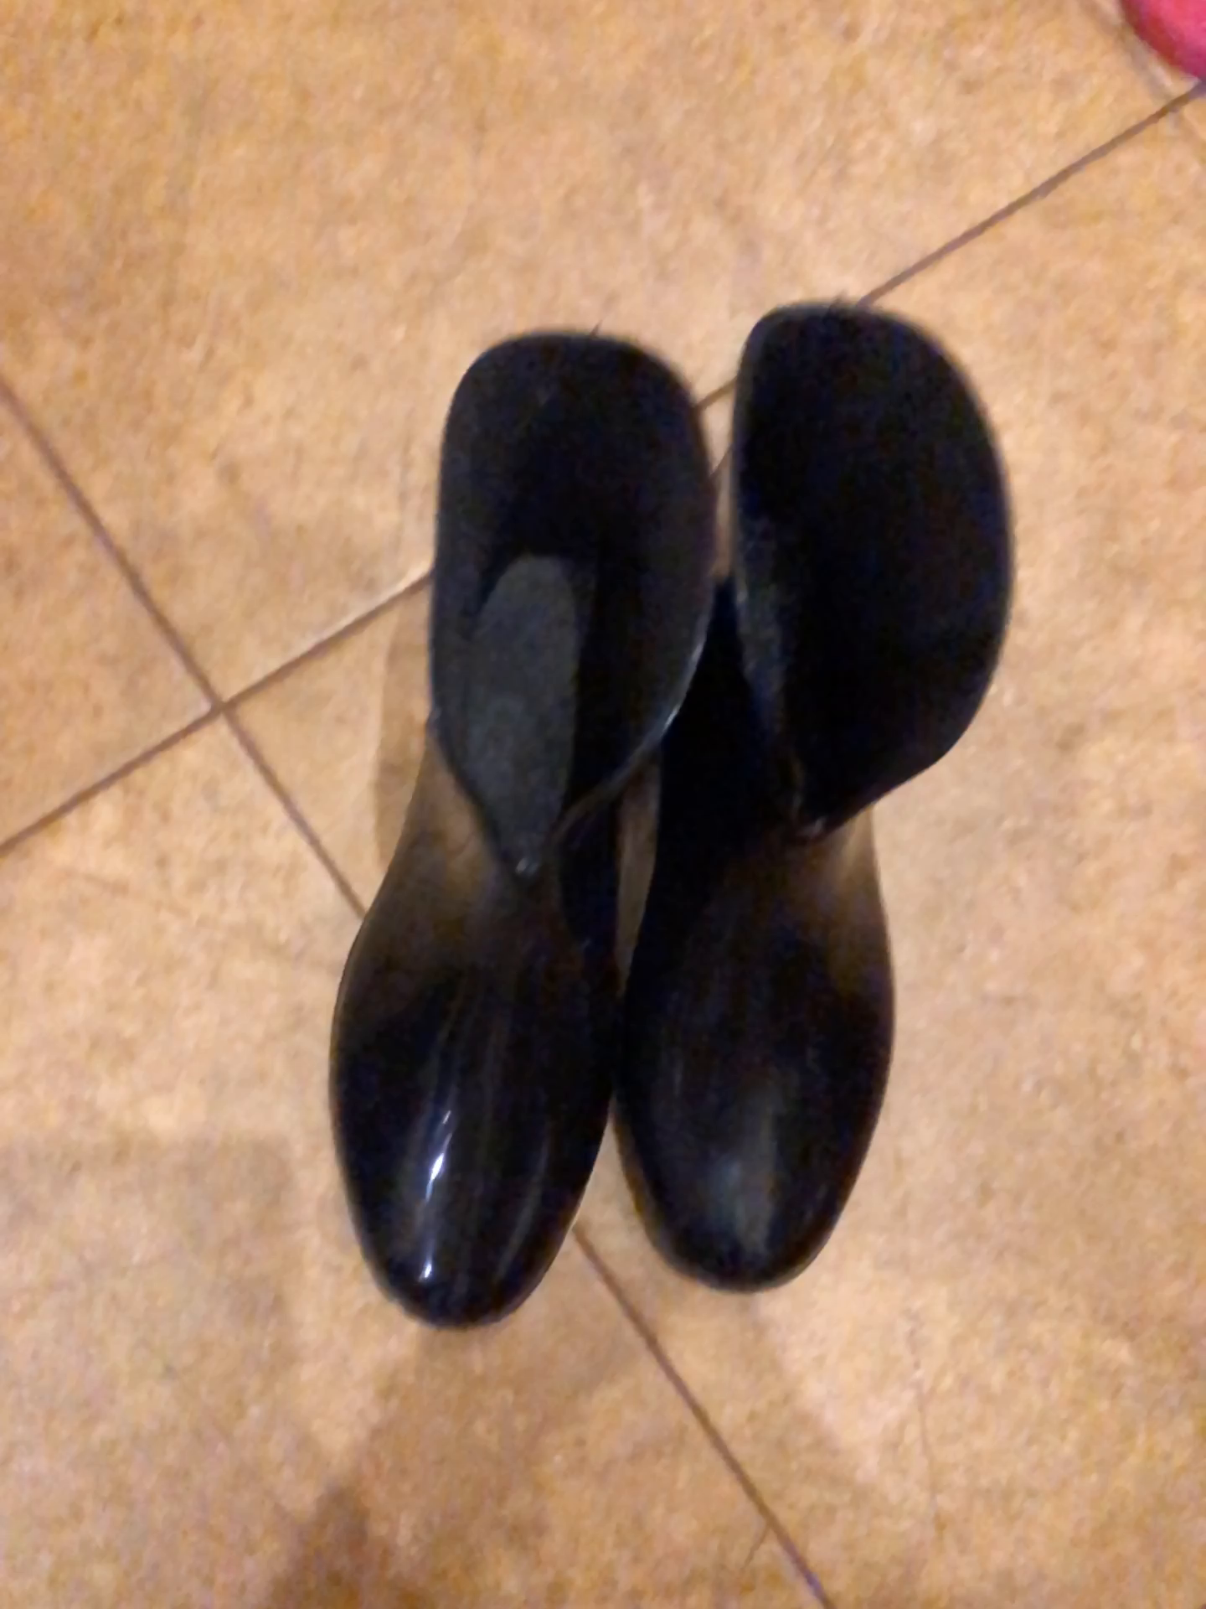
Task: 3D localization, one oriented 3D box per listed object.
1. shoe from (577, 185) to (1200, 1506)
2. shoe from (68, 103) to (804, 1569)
[{"bbox_3d":[0.055,0.016,0.398,0.110,0.230,0.280,0,81,-5],"label":"shoe"},{"bbox_3d":[-0.035,0.013,0.375,0.110,0.230,0.280,7,80,-4],"label":"shoe"}]
